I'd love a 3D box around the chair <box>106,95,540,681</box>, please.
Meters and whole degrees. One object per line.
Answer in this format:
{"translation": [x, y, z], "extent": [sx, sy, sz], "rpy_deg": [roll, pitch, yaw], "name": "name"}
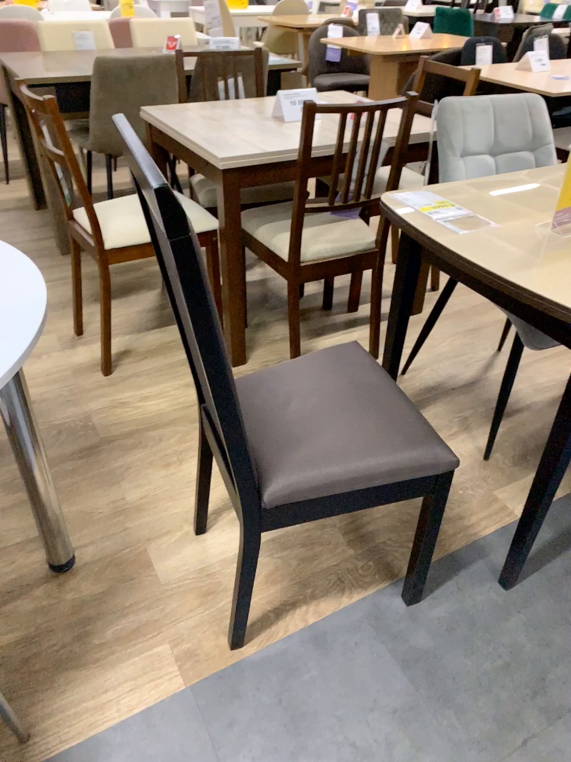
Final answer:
{"translation": [0.011, 0.041, 1.144], "extent": [0.501, 0.994, 0.442], "rpy_deg": [-11, 38, -17], "name": "chair"}
